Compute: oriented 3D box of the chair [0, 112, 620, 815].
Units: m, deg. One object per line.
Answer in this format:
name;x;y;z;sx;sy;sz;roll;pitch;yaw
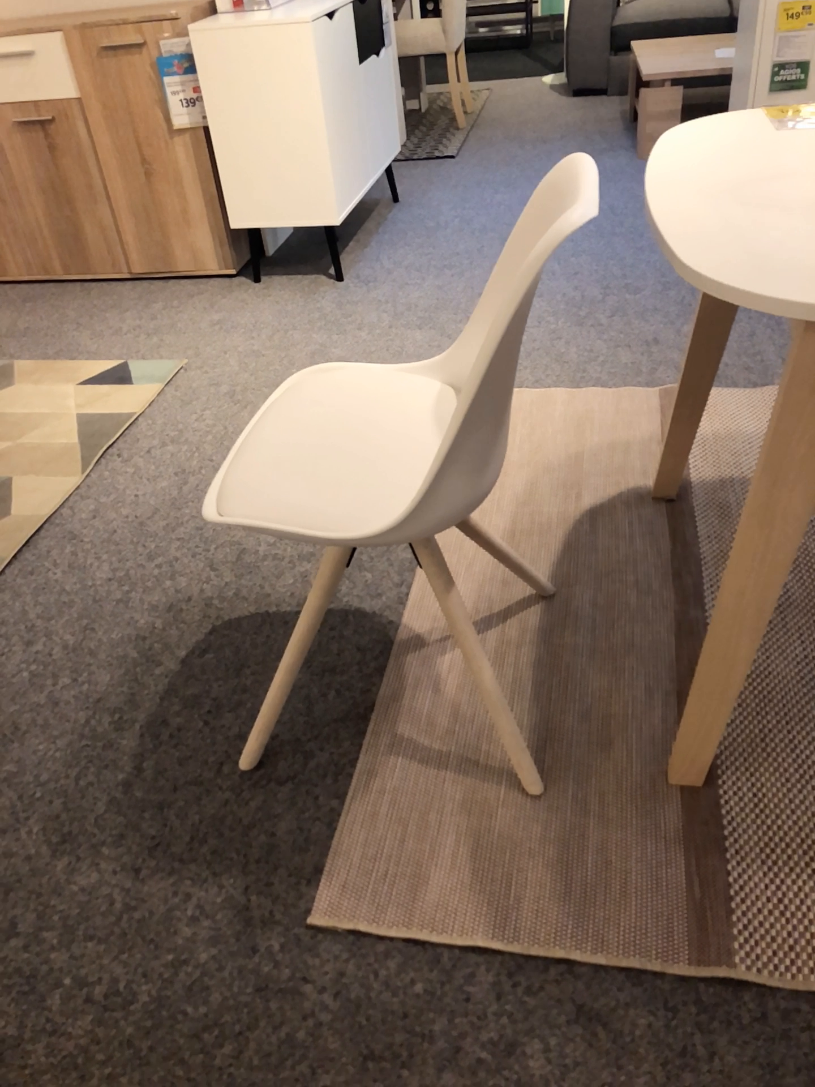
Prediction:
chair;-0.022;-0.116;1.244;0.590;0.756;0.554;2;37;12
